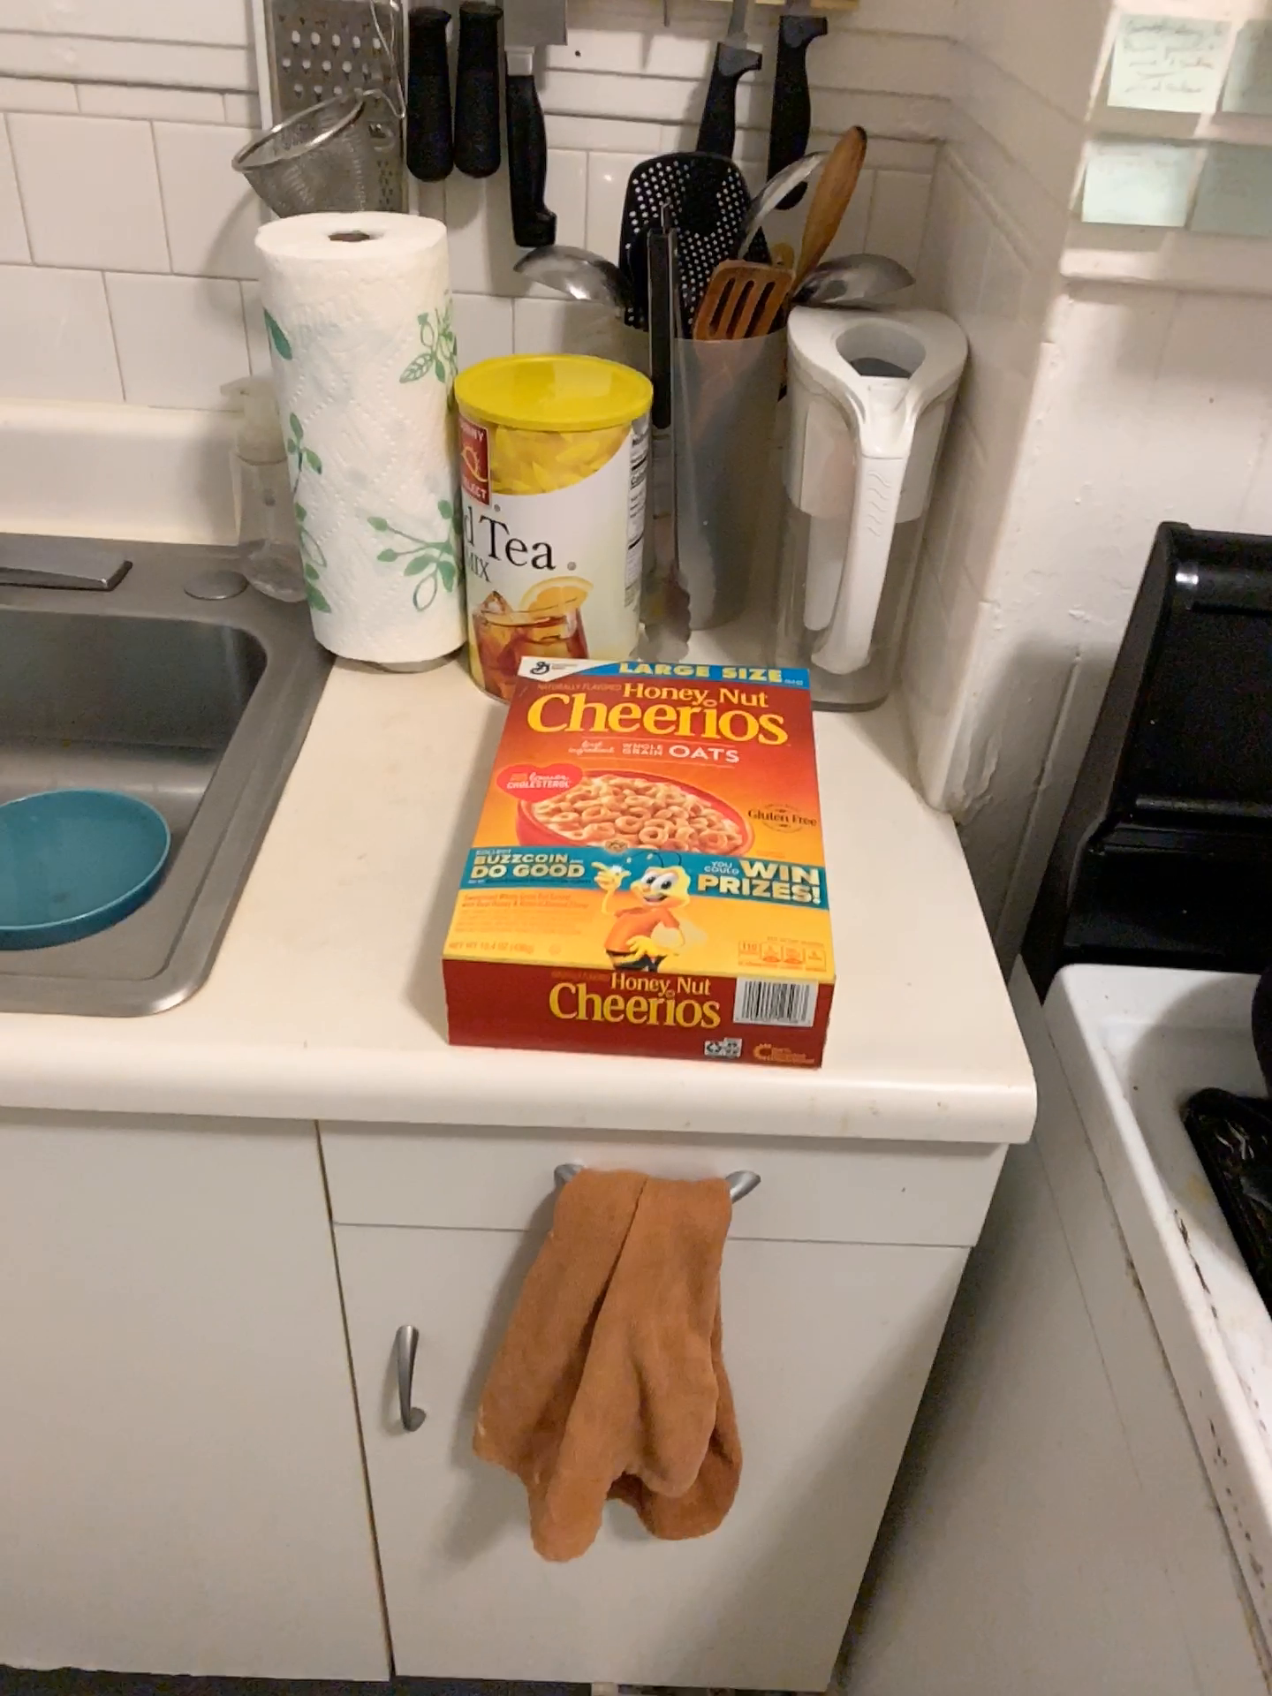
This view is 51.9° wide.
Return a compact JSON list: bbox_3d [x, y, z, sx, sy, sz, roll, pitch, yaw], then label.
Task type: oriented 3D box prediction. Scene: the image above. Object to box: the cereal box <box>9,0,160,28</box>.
[{"bbox_3d":[-3.169,-5.334,7.552,0.521,0.955,0.412,-27,47,-34],"label":"cereal box"}]
